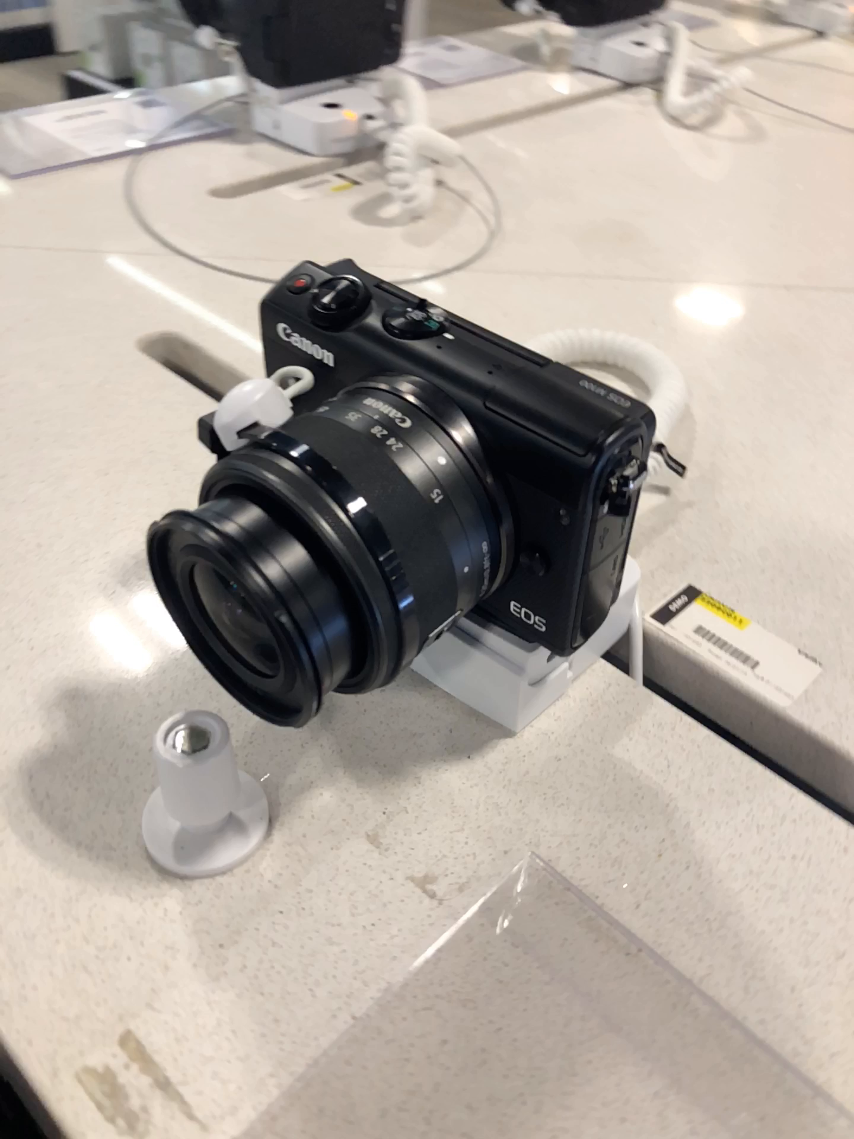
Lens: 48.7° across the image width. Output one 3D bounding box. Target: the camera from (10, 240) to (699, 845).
[{"bbox_3d":[-0.019,-0.018,0.221,0.090,0.060,0.120,-31,52,-34],"label":"camera"}]
